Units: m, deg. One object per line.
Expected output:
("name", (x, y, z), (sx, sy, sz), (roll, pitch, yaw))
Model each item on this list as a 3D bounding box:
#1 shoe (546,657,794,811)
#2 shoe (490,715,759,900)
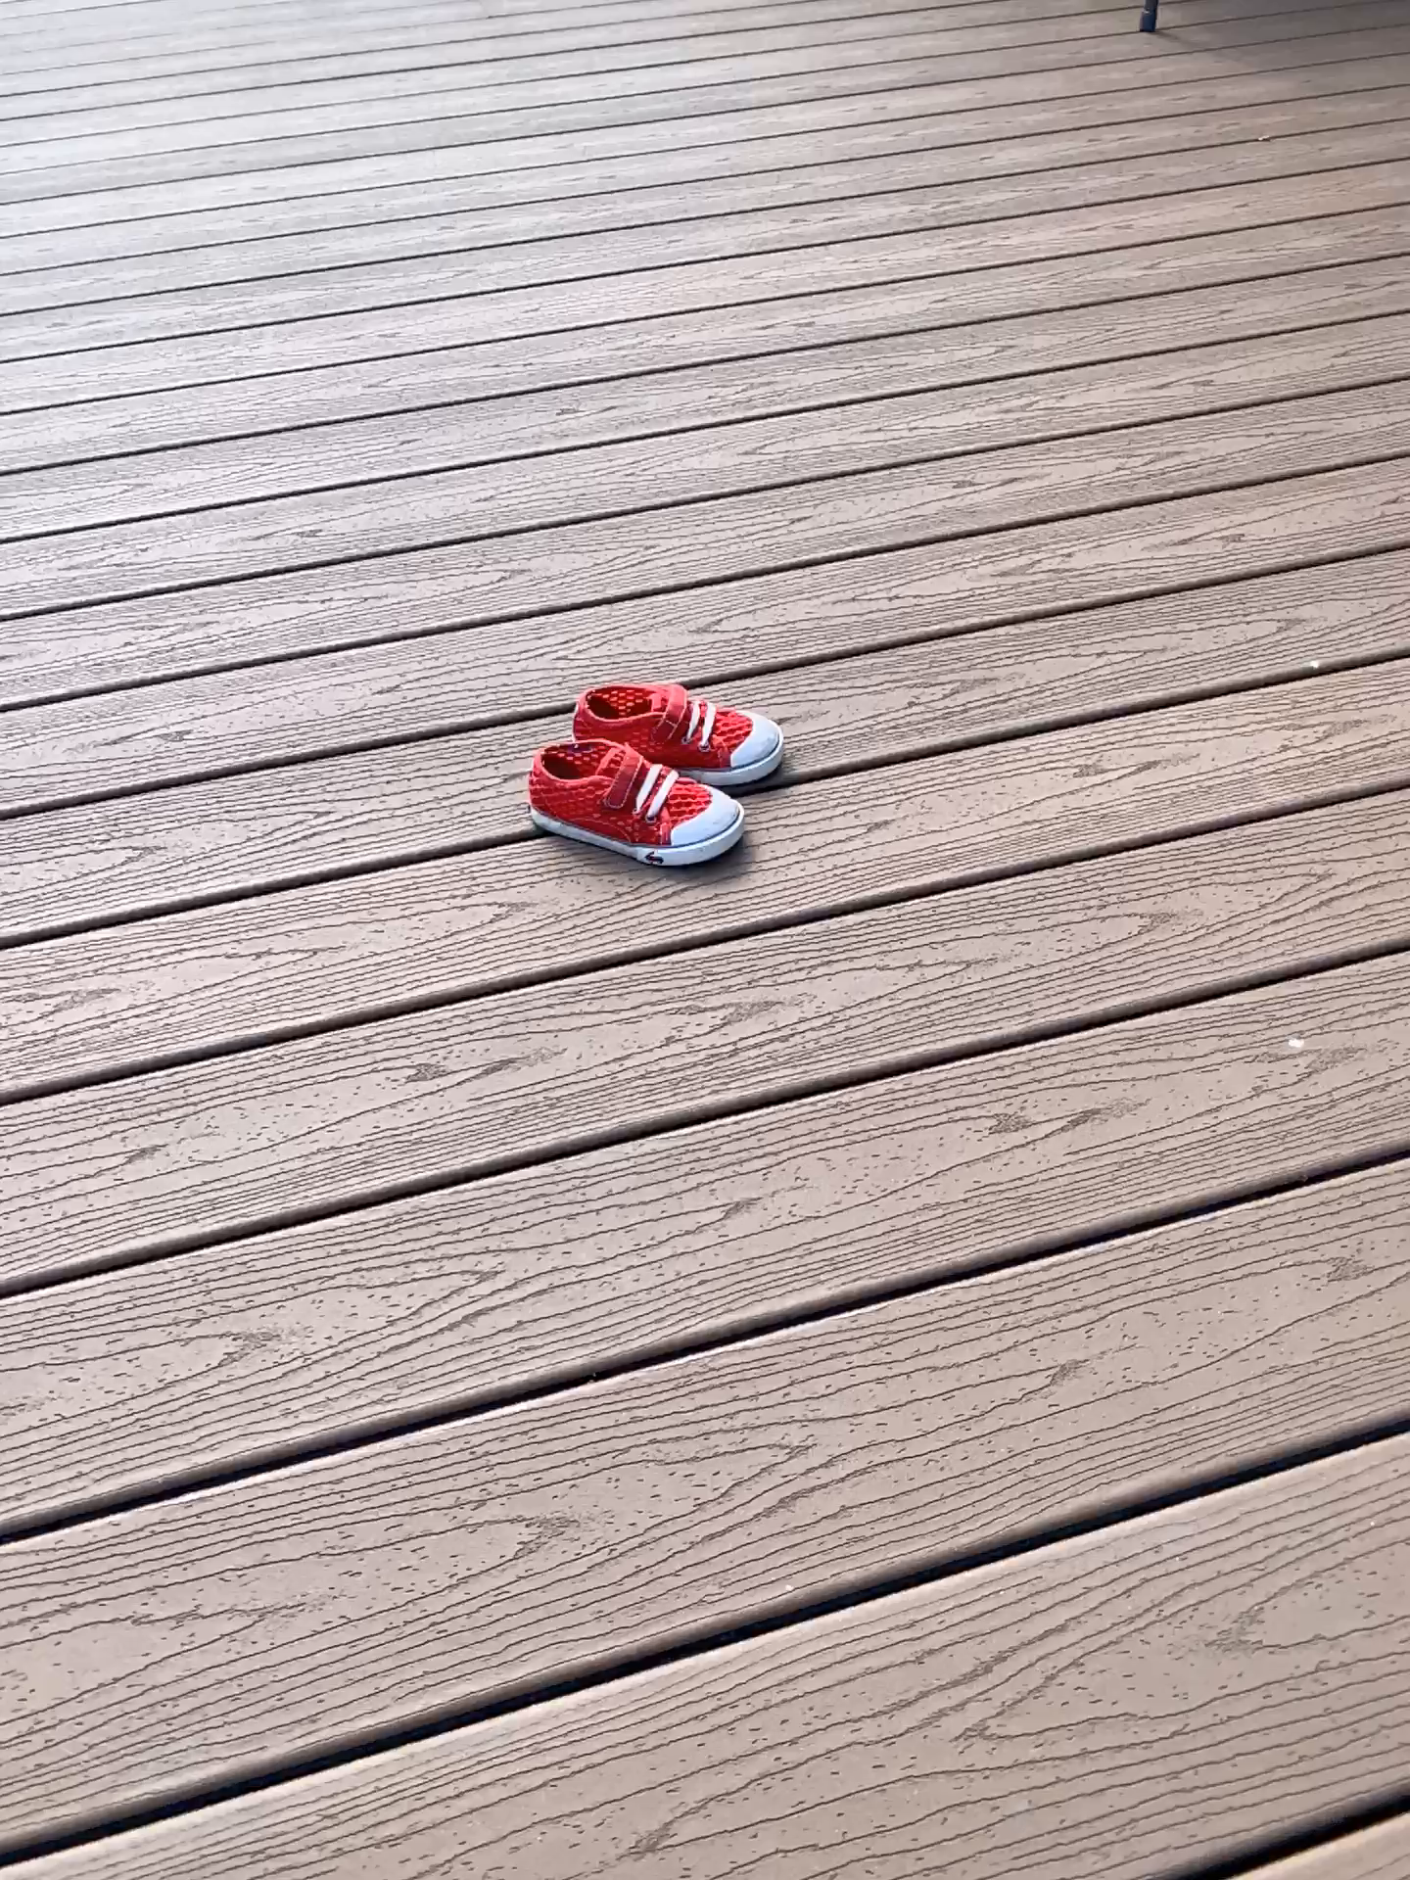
("shoe", (-0.026, -0.169, 1.169), (0.180, 0.060, 0.090), (9, 46, 12))
("shoe", (-0.060, -0.103, 1.099), (0.180, 0.060, 0.090), (15, 48, 18))
